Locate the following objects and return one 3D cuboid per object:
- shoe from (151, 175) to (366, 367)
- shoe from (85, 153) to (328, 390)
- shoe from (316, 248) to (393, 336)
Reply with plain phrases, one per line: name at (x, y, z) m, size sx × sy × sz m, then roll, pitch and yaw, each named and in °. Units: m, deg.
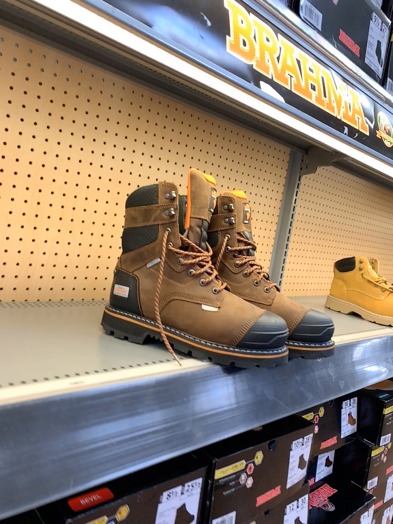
shoe at (0.109, 0.002, 0.730) m, size 0.318 × 0.260 × 0.134 m, roll 12°, pitch 6°, yaw 21°
shoe at (0.013, -0.002, 0.637) m, size 0.313 × 0.280 × 0.136 m, roll 12°, pitch 6°, yaw 22°
shoe at (0.515, 0.075, 1.145) m, size 0.146 × 0.179 × 0.273 m, roll 4°, pitch 8°, yaw -43°
